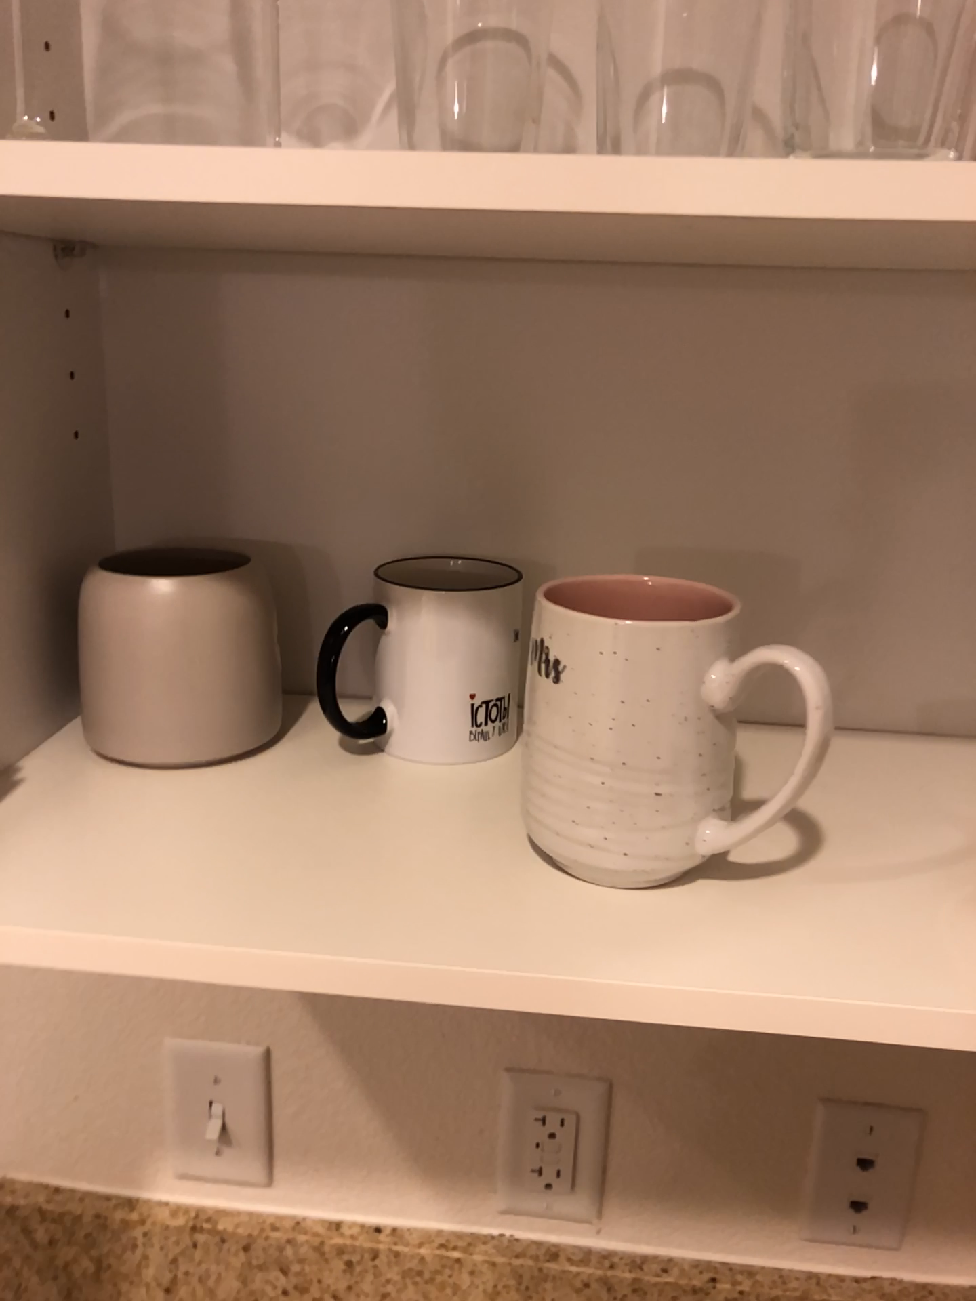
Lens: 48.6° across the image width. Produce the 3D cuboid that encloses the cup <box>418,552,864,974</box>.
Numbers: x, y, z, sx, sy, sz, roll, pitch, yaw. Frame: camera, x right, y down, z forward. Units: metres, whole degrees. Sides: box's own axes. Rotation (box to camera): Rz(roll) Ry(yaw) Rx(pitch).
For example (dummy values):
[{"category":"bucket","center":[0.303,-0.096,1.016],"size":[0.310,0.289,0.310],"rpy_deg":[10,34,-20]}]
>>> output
[{"category":"cup","center":[0.054,0.032,0.424],"size":[0.140,0.110,0.090],"rpy_deg":[16,21,39]}]

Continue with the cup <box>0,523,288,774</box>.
[{"category":"cup","center":[-0.174,-0.008,0.570],"size":[0.110,0.090,0.151],"rpy_deg":[1,17,-1]}]

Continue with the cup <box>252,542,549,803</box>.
[{"category":"cup","center":[-0.044,0.004,0.525],"size":[0.110,0.090,0.090],"rpy_deg":[-10,20,-34]}]
